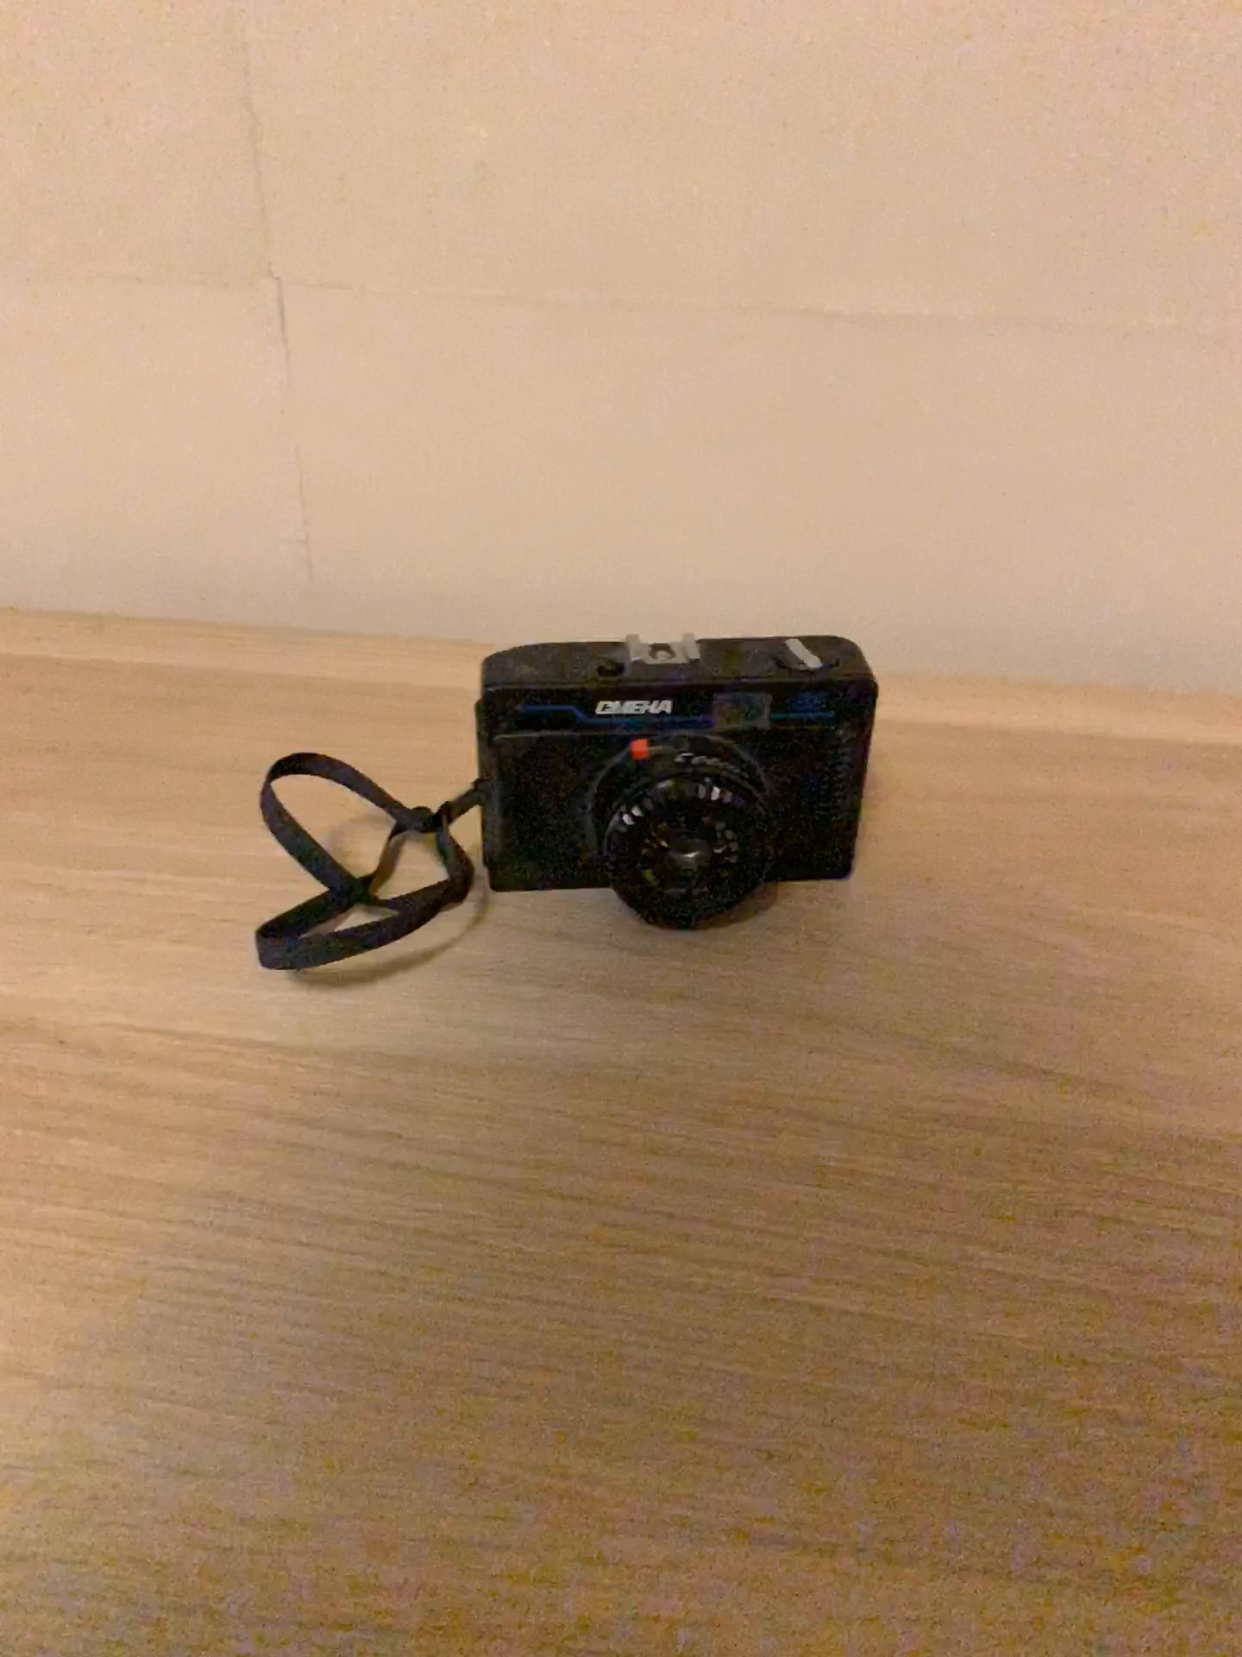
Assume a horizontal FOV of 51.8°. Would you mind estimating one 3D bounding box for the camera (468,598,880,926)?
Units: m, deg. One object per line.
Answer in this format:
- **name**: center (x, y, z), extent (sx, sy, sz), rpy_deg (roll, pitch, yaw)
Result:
- **camera**: center (0.012, -0.019, 0.382), extent (0.110, 0.089, 0.040), rpy_deg (0, 36, -3)
